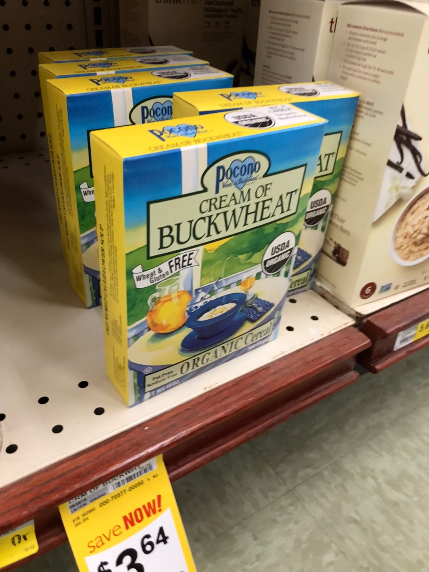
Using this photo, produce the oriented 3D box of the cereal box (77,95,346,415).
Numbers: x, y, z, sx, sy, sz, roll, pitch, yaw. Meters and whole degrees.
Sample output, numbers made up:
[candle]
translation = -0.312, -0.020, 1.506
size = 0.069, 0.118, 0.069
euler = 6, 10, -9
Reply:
[cereal box]
translation = 0.000, -0.019, 0.270
size = 0.130, 0.150, 0.040
euler = -20, 41, -31
